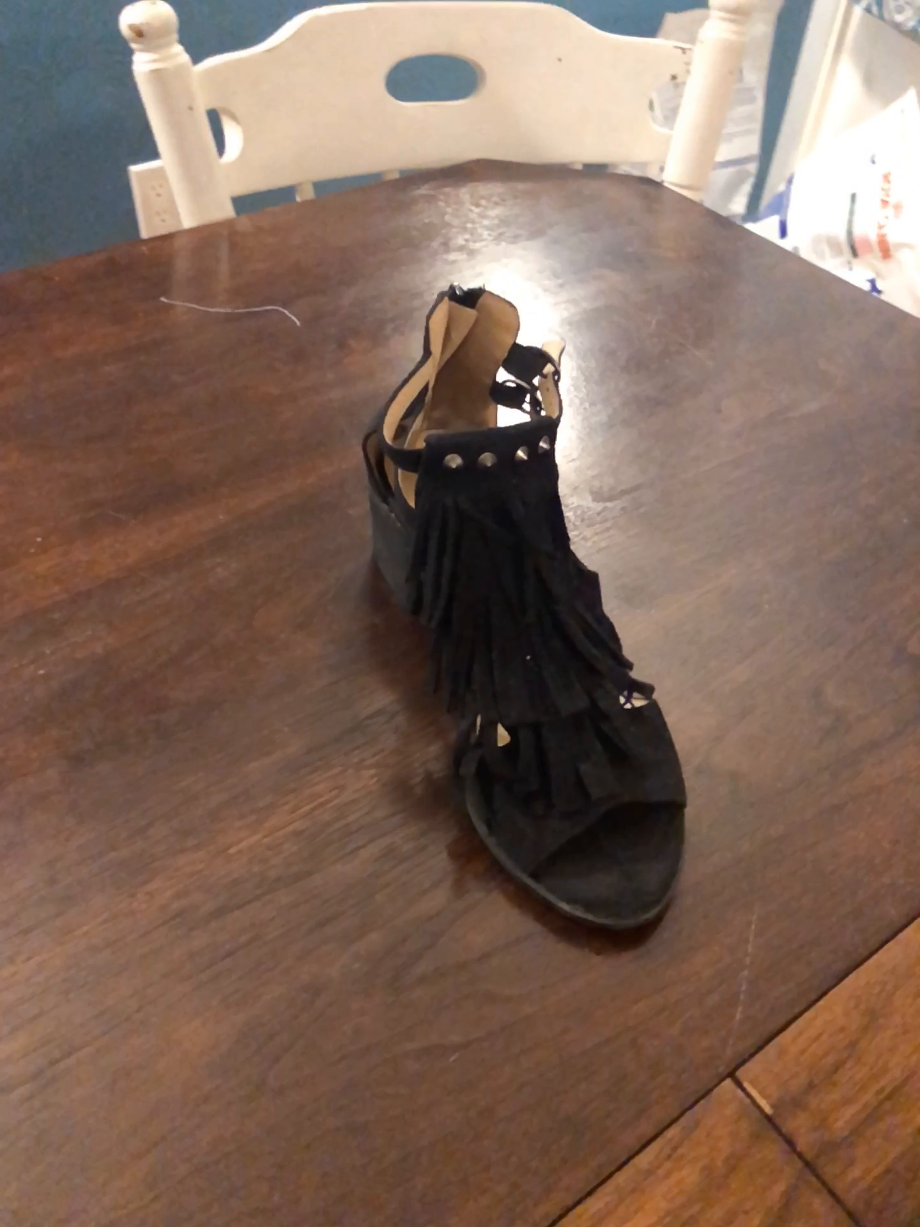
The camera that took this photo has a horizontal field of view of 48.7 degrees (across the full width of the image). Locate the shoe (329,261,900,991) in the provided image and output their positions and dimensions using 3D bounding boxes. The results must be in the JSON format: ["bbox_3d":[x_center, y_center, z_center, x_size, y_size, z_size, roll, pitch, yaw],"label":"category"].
[{"bbox_3d":[0.032,-0.009,0.405,0.100,0.150,0.241,-13,48,-16],"label":"shoe"}]
